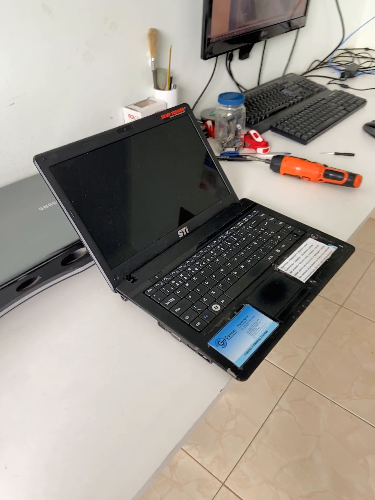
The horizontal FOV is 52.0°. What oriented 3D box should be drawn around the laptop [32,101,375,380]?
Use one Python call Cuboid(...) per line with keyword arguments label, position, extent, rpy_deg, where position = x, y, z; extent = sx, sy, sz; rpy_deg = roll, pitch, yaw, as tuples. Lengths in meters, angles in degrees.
Cuboid(label="laptop", position=(0.031, -0.069, 0.603), extent=(0.385, 0.159, 0.336), rpy_deg=(29, 47, 30))
